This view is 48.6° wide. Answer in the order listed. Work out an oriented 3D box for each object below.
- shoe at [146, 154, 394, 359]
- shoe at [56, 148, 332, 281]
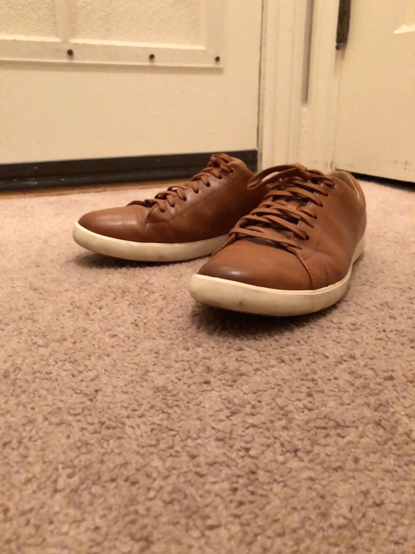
[{"bbox_3d":[0.079,-0.047,0.421,0.117,0.100,0.286,11,22,28],"label":"shoe"},{"bbox_3d":[-0.010,-0.086,0.527,0.285,0.102,0.117,-11,22,-27],"label":"shoe"}]
